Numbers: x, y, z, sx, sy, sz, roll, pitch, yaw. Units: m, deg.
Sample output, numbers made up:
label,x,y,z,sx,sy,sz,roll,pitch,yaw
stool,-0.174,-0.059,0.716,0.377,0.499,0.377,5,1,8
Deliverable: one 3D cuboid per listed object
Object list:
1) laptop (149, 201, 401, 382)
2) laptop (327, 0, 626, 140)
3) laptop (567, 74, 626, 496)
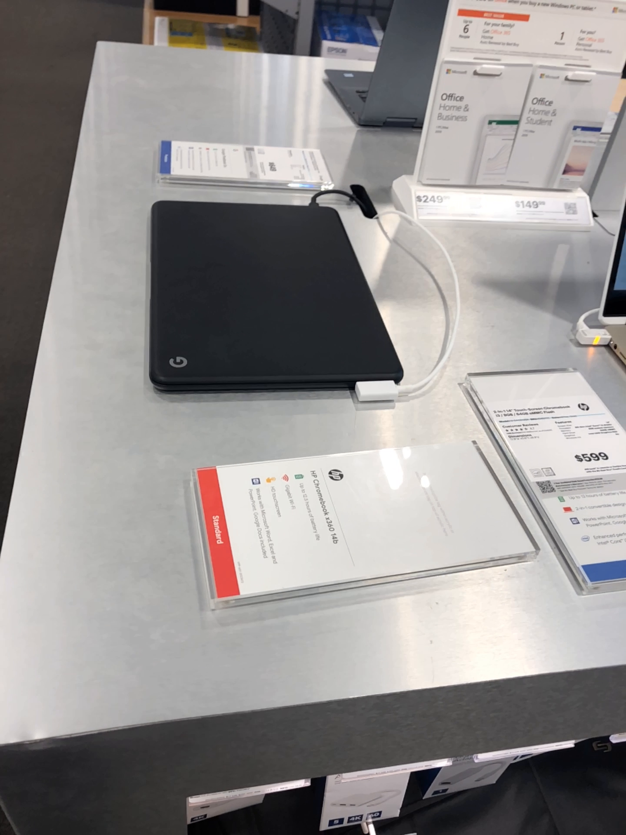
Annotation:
label,x,y,z,sx,sy,sz,roll,pitch,yaw
laptop,-0.050,-0.128,0.634,0.194,0.001,0.298,-1,43,-11
laptop,0.214,-0.562,1.009,0.298,0.196,0.294,-4,42,-12
laptop,0.438,-0.117,0.546,0.302,0.206,0.276,-2,41,-11
